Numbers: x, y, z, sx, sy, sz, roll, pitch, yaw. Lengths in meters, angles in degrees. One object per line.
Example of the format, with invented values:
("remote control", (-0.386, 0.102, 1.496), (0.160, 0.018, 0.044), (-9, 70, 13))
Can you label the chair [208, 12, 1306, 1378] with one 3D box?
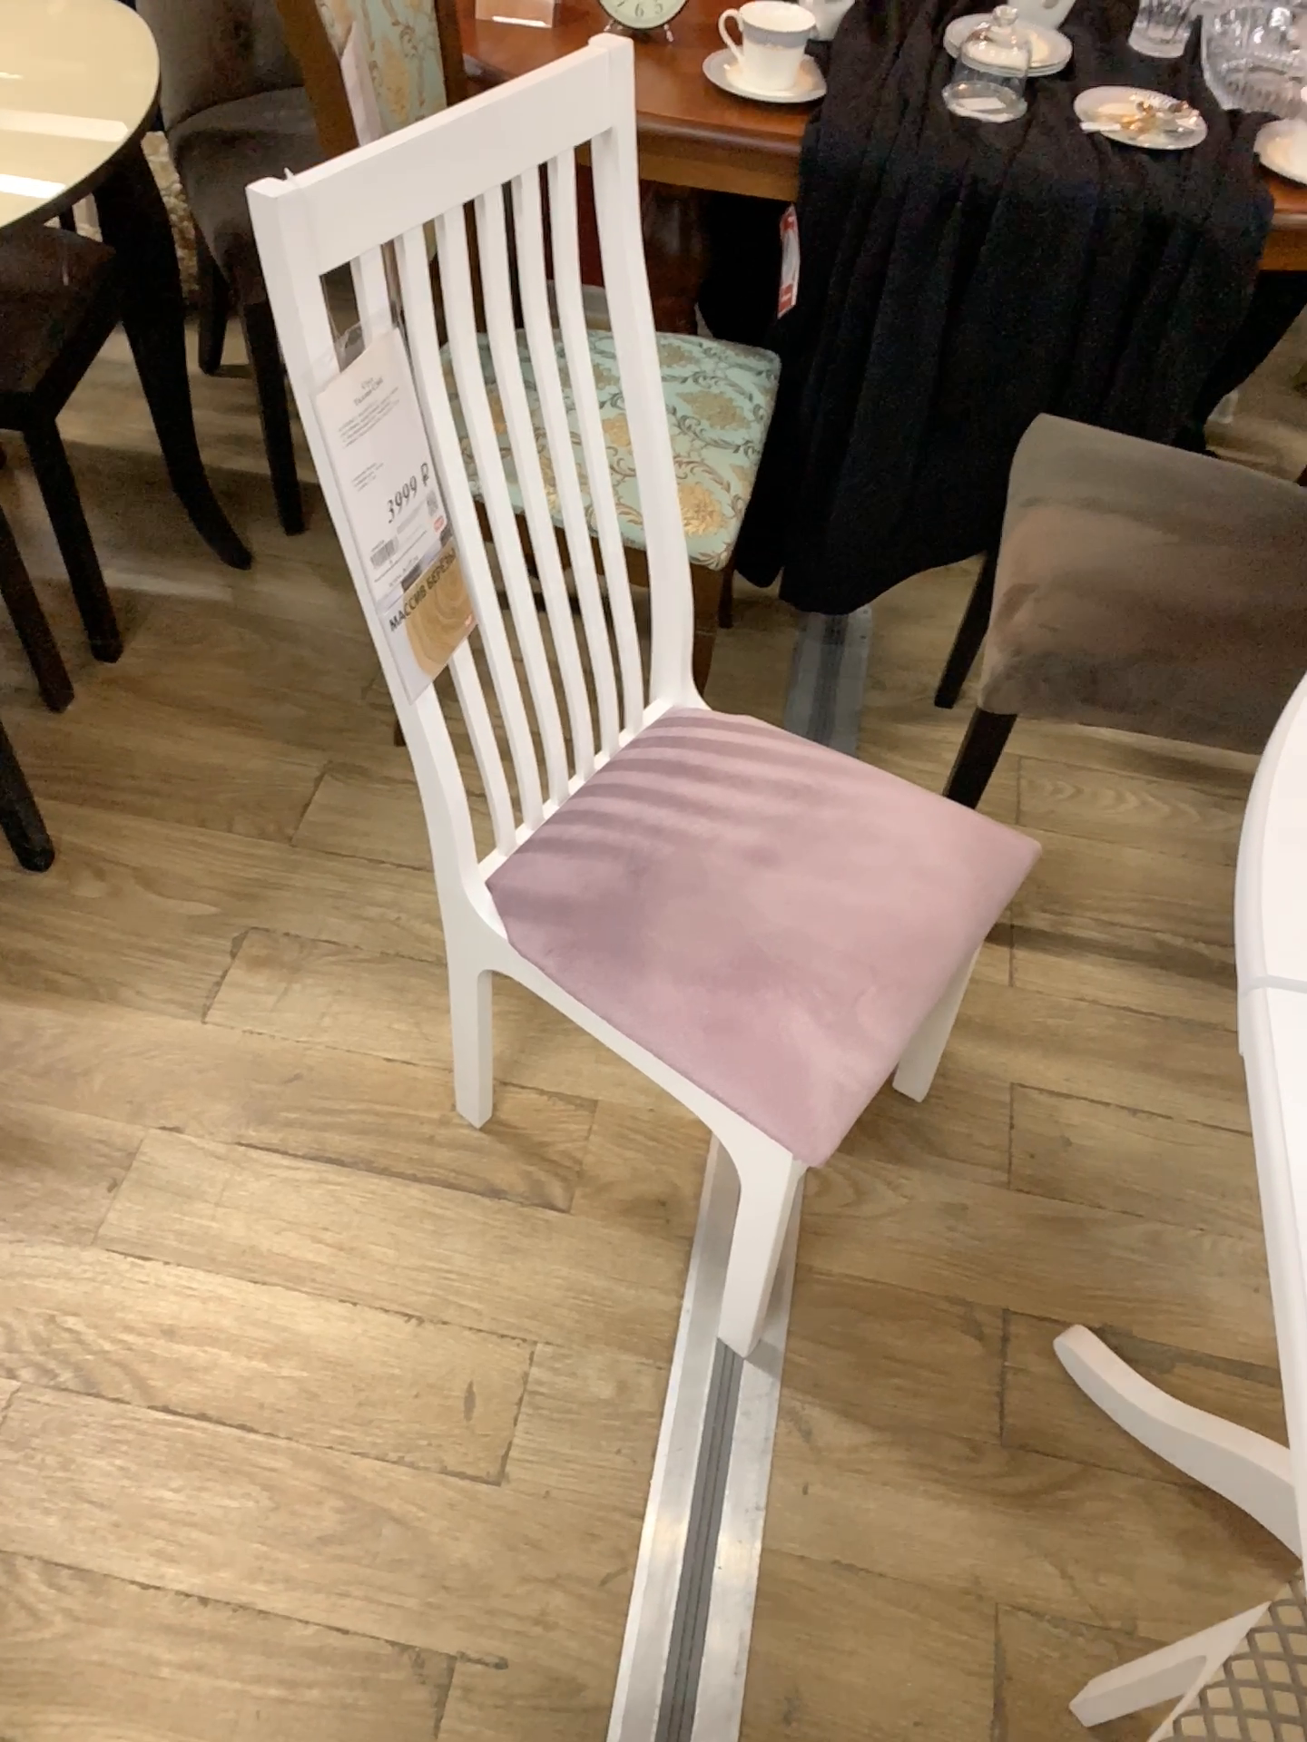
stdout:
("chair", (0.053, -0.067, 1.179), (0.520, 1.004, 0.442), (30, 54, 19))
